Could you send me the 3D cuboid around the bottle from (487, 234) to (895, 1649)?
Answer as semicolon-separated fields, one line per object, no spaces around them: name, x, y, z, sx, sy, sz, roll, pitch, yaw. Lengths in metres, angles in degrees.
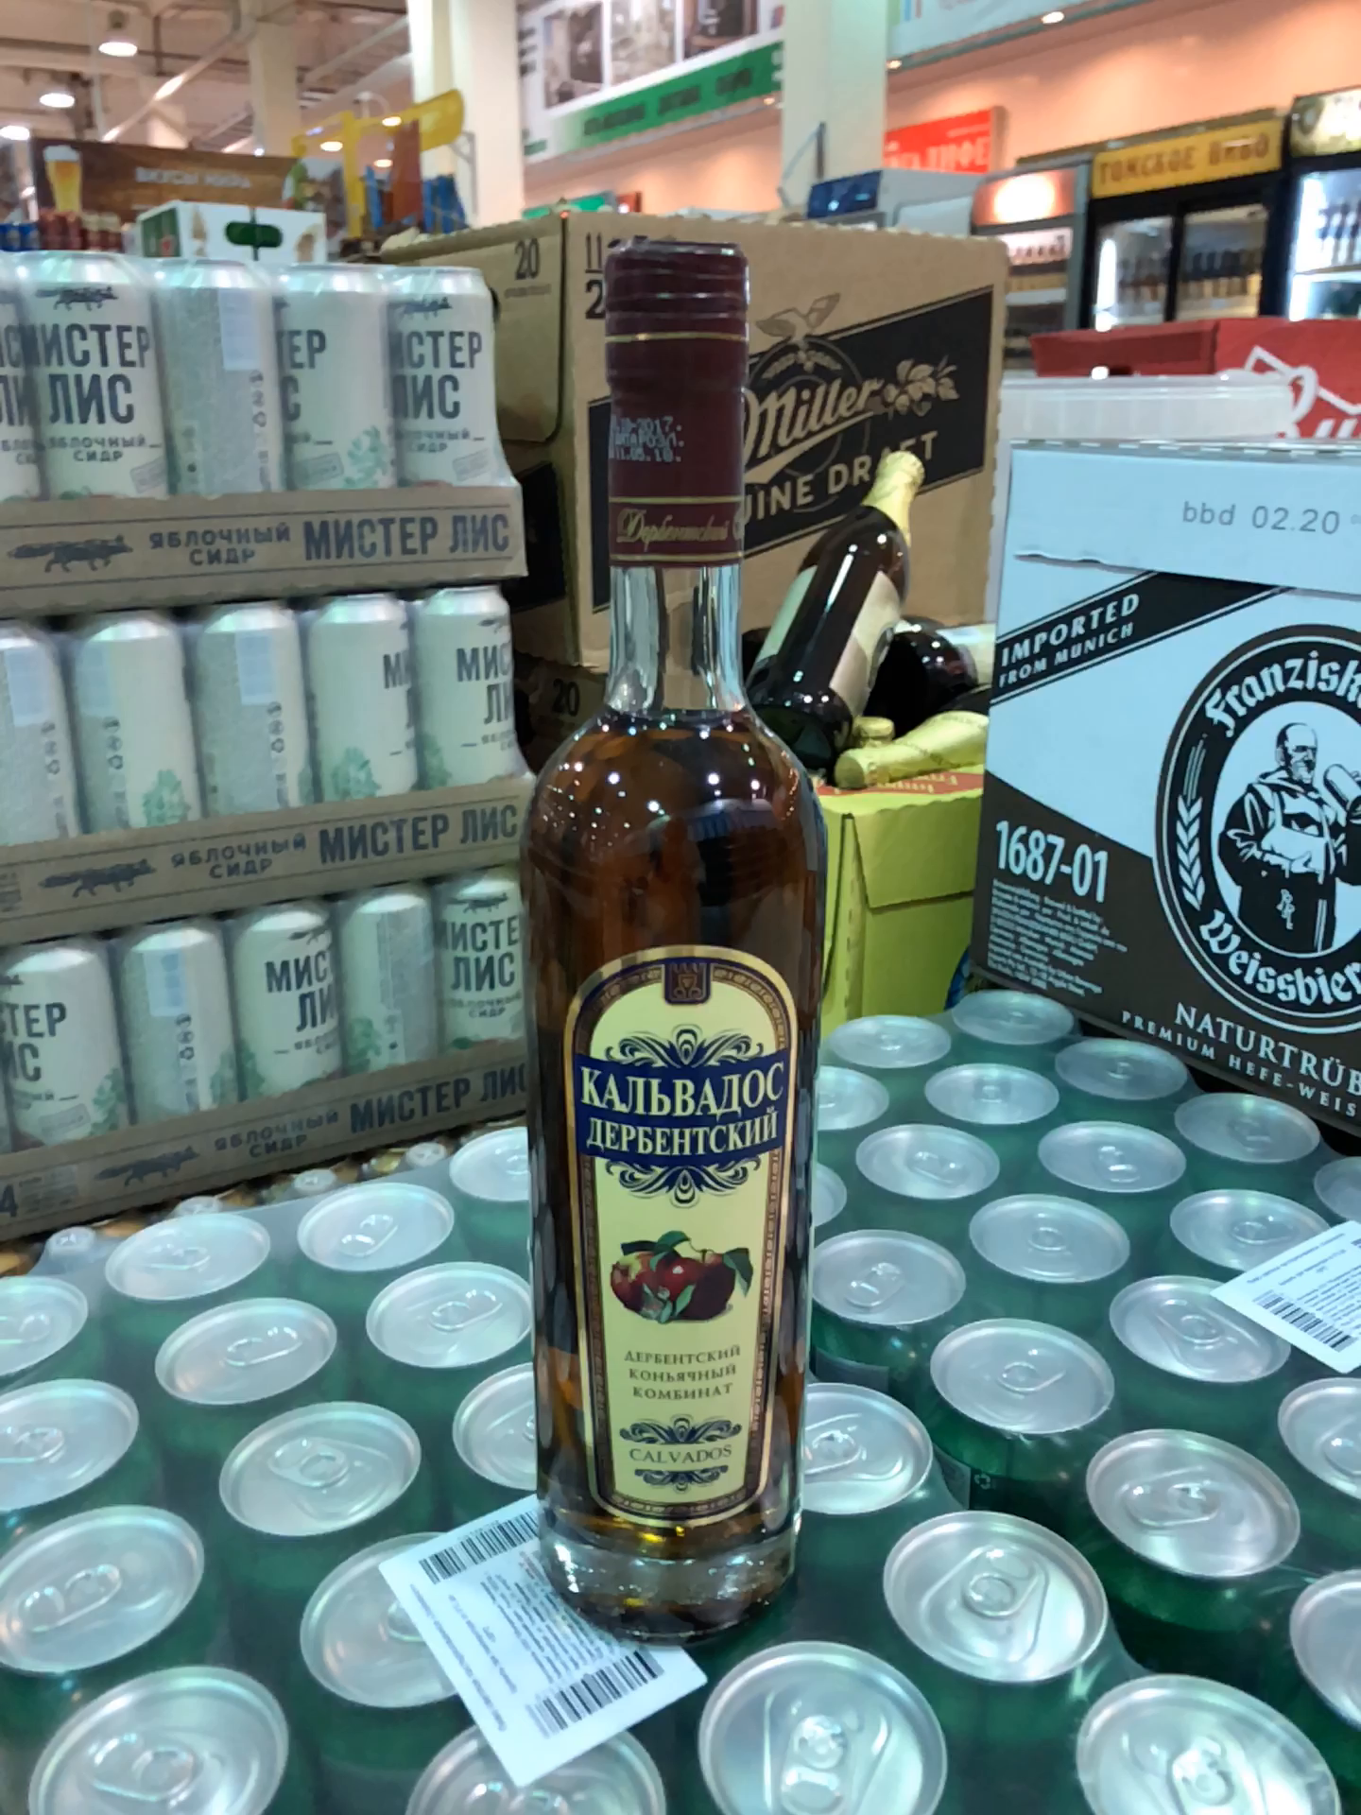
bottle;0.000;0.016;0.334;0.070;0.298;0.070;0;18;0
